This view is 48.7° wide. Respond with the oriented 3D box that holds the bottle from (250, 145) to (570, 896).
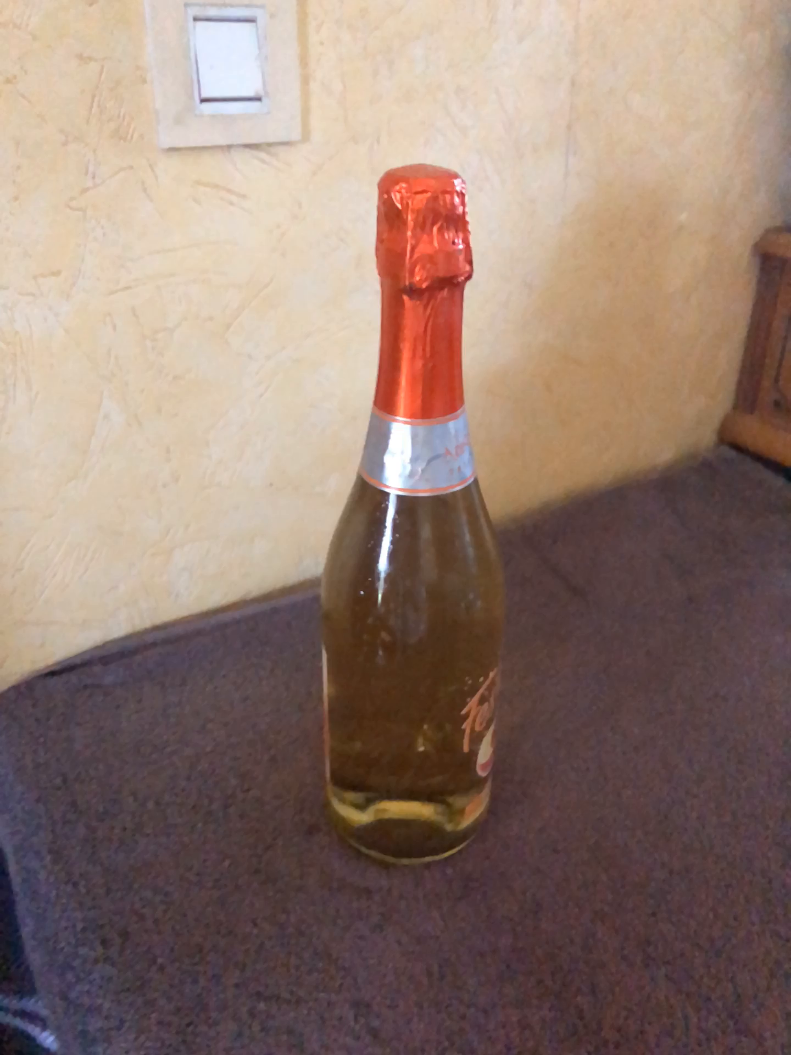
[{"bbox_3d":[0.009,0.009,0.379,0.090,0.308,0.091,0,29,0],"label":"bottle"}]
